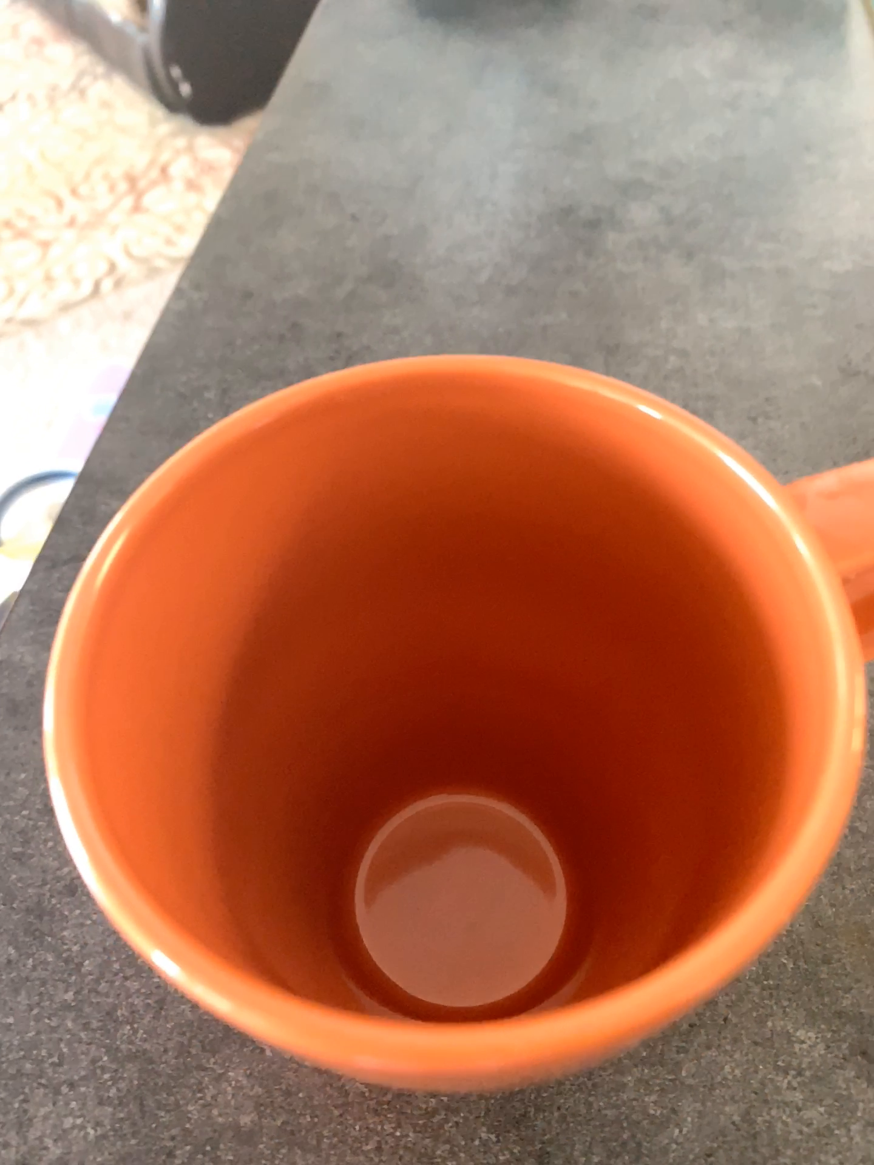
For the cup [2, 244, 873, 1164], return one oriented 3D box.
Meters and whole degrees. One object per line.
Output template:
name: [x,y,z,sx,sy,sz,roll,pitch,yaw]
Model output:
cup: [0.023,0.024,0.129,0.120,0.090,0.080,-10,53,-4]
